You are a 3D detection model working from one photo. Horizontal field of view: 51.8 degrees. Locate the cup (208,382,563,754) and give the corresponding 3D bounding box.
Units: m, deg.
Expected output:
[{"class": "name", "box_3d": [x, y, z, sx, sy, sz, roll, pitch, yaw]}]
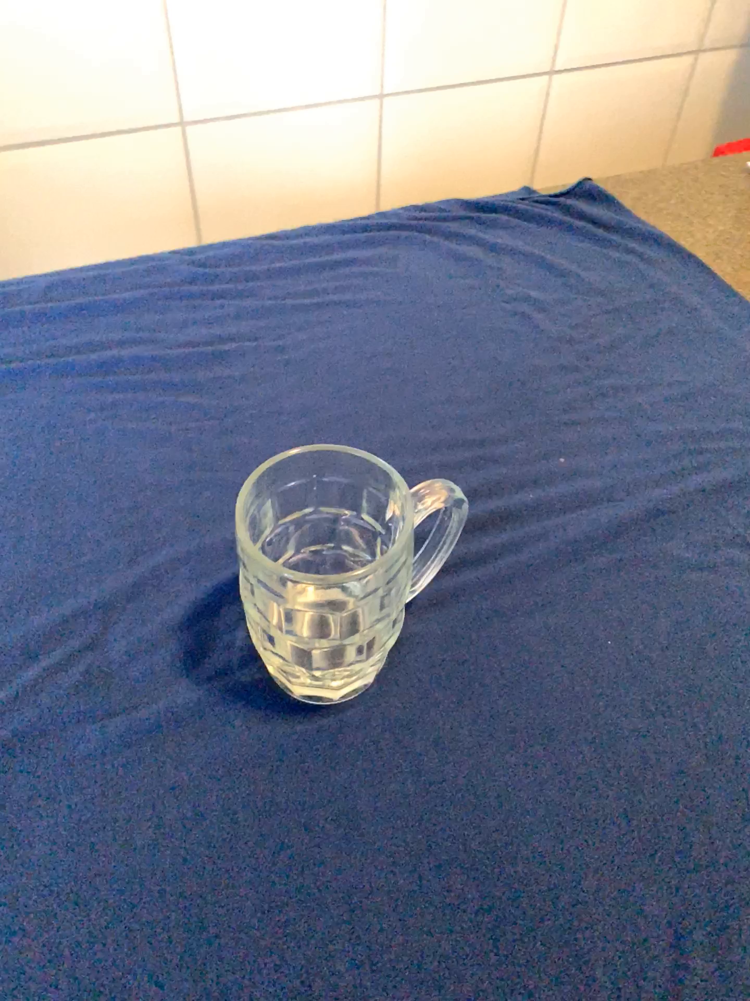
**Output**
[{"class": "cup", "box_3d": [0.002, 0.029, 0.353, 0.120, 0.109, 0.080, -23, 52, -23]}]
